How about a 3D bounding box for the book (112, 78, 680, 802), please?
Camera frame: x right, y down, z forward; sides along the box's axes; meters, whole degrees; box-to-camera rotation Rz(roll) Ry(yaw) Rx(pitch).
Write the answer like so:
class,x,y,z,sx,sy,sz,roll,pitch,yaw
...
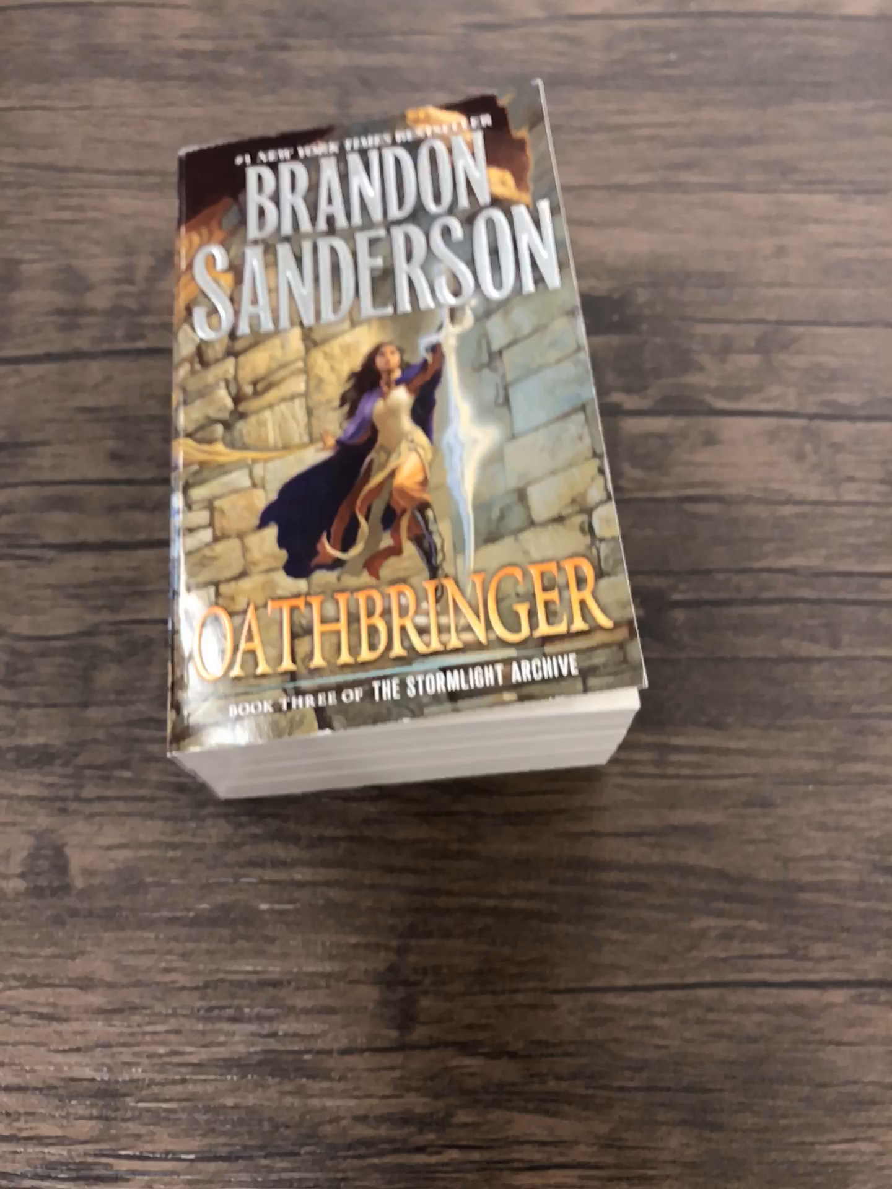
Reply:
class,x,y,z,sx,sy,sz,roll,pitch,yaw
book,-0.017,-0.041,0.254,0.111,0.058,0.167,-5,68,-3
